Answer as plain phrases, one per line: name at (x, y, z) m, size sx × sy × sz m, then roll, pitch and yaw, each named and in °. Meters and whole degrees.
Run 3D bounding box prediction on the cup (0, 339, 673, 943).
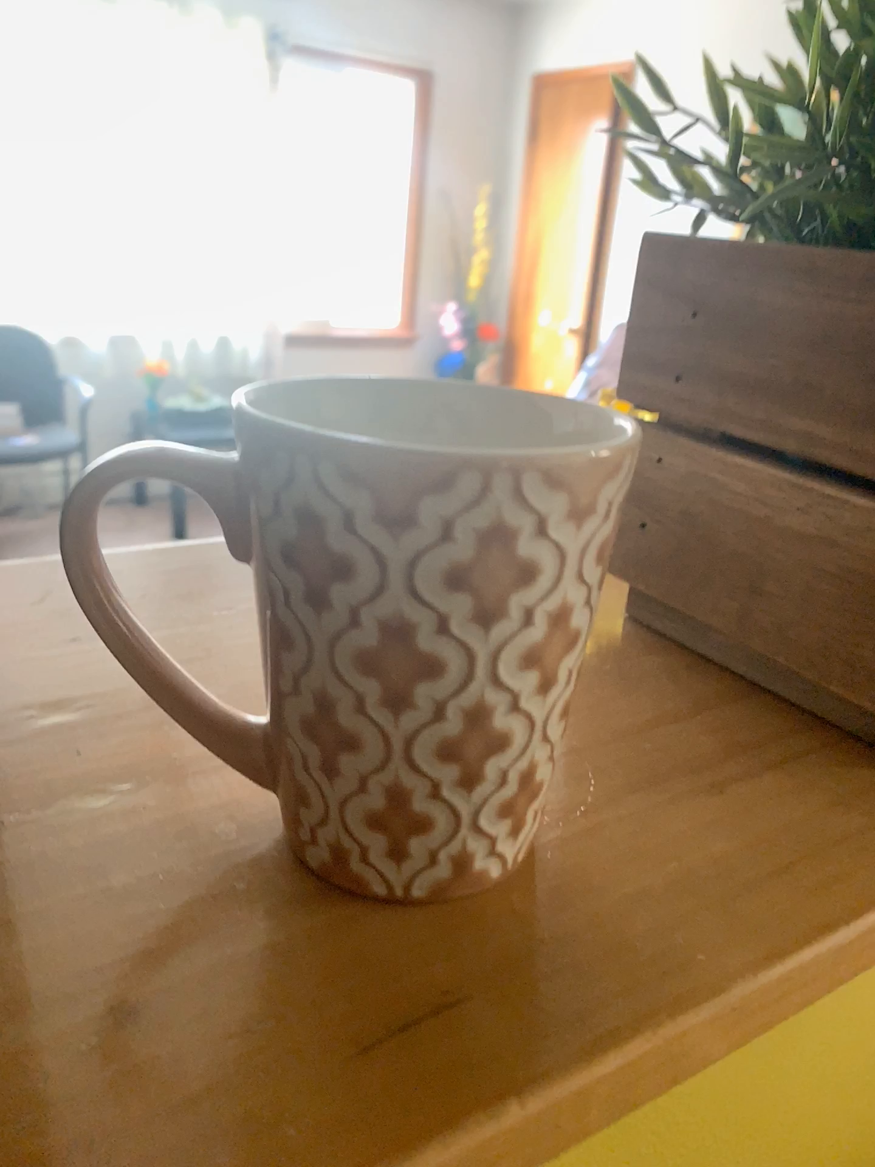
cup at (-0.025, 0.008, 0.218) m, size 0.120 × 0.109 × 0.091 m, roll 3°, pitch 21°, yaw -5°
